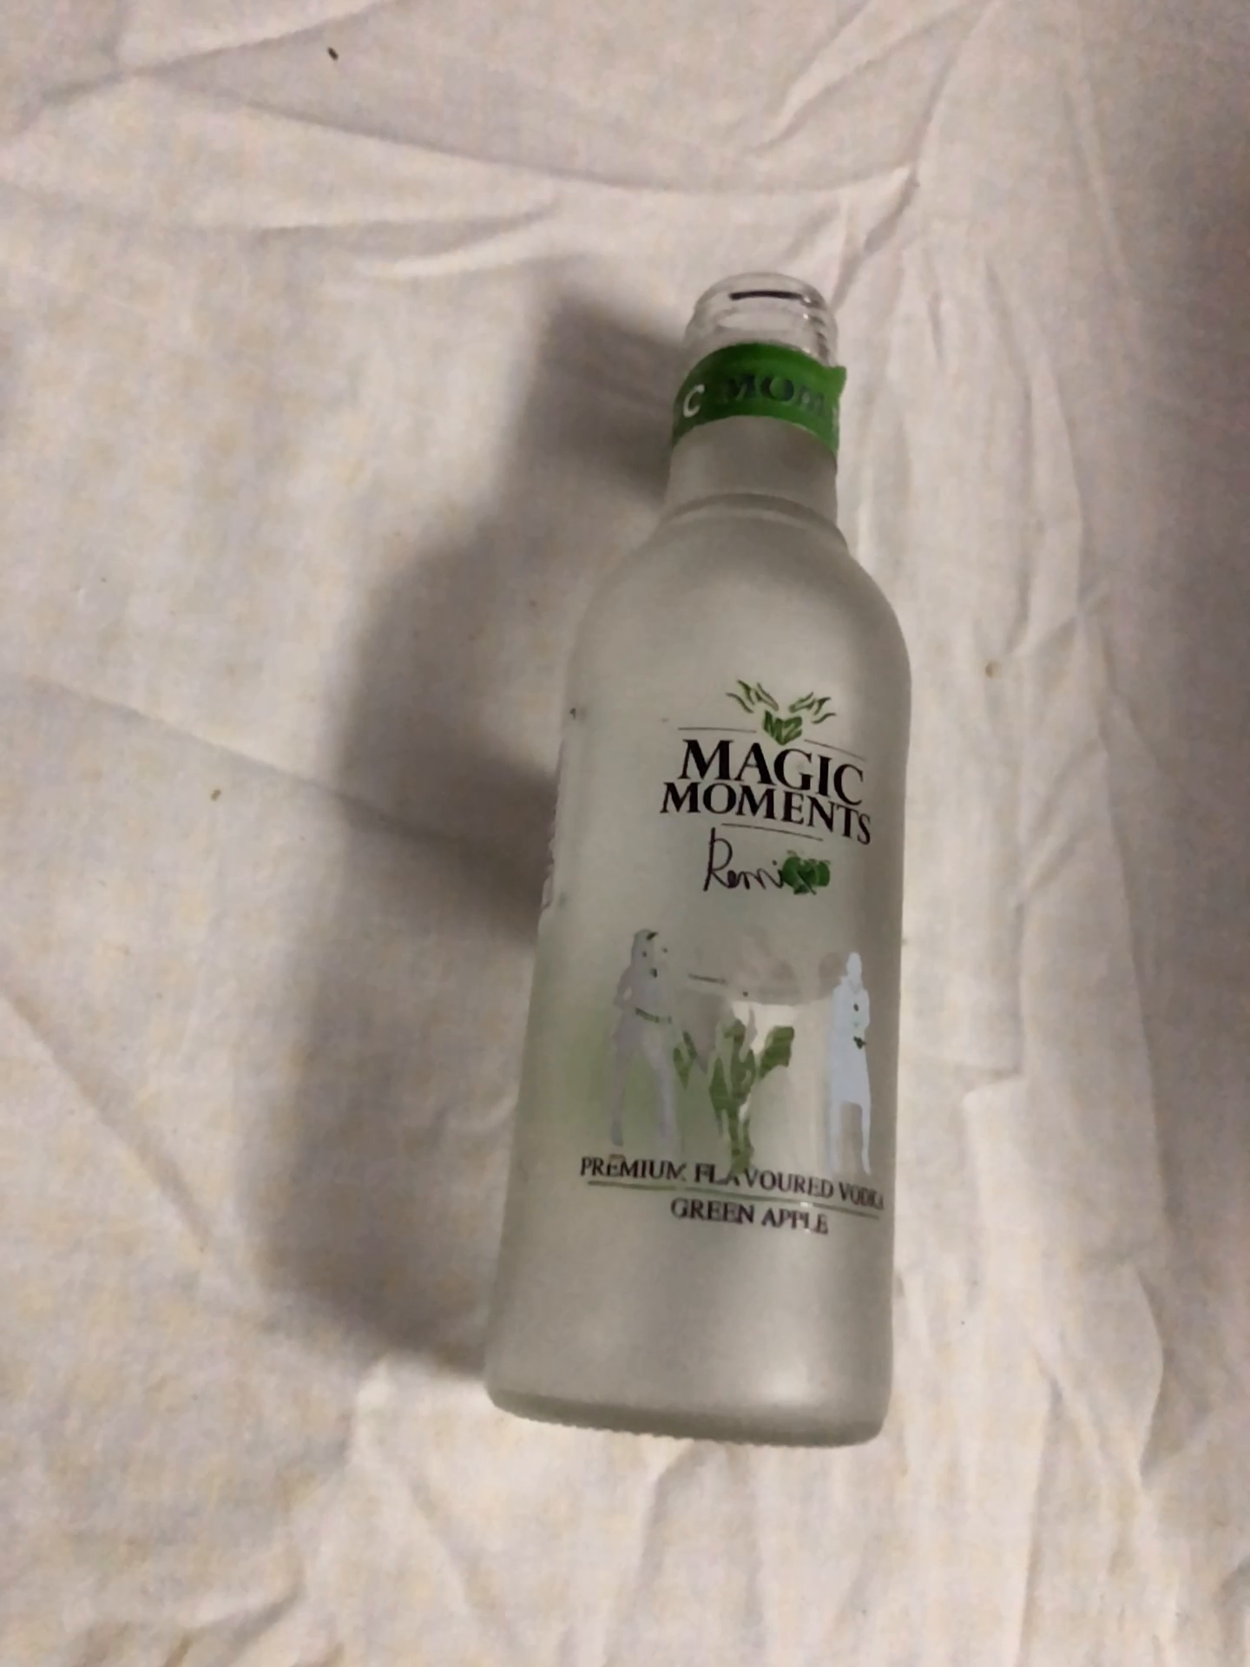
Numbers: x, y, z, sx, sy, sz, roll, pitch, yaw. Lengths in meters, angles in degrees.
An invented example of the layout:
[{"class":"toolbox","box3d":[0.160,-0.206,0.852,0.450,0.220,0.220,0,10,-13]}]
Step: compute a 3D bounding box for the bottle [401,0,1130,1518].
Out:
[{"class":"bottle","box3d":[0.020,-0.015,0.188,0.060,0.060,0.180,12,75,-20]}]
